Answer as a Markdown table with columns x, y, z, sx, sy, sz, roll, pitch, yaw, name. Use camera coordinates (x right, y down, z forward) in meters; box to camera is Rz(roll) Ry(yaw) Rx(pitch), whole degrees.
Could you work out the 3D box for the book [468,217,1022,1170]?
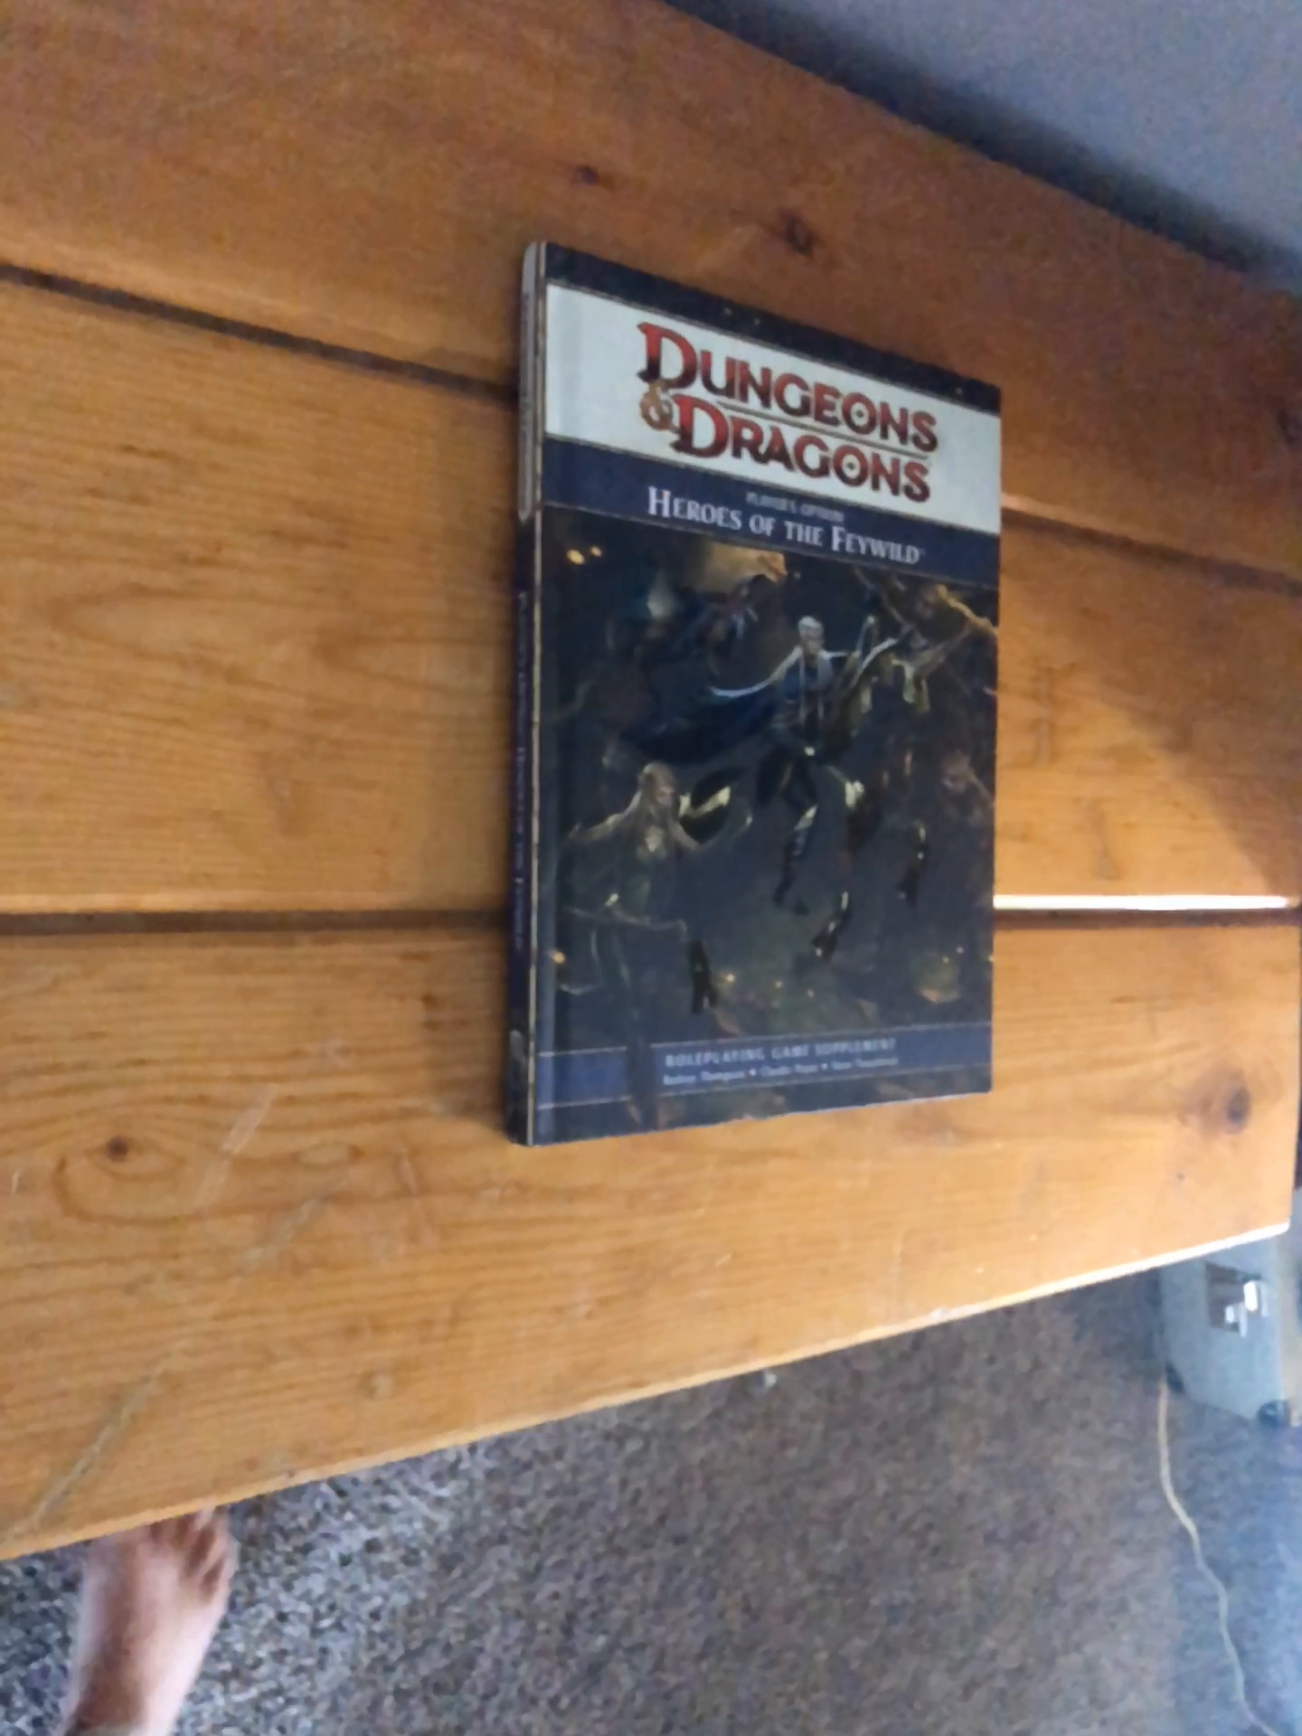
| x | y | z | sx | sy | sz | roll | pitch | yaw | name |
| --- | --- | --- | --- | --- | --- | --- | --- | --- | --- |
| 0.043 | -0.049 | 0.499 | 0.221 | 0.020 | 0.280 | 1 | 91 | -36 | book |
